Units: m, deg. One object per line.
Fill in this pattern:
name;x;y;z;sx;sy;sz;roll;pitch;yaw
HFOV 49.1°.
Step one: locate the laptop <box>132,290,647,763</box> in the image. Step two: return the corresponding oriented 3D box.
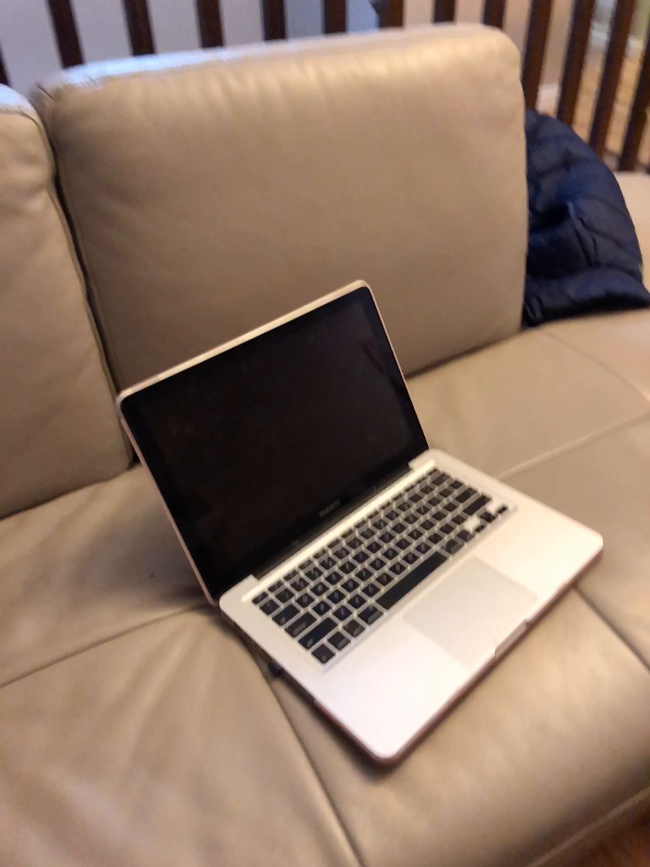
laptop;0.050;0.044;0.662;0.309;0.166;0.323;-31;46;-30
